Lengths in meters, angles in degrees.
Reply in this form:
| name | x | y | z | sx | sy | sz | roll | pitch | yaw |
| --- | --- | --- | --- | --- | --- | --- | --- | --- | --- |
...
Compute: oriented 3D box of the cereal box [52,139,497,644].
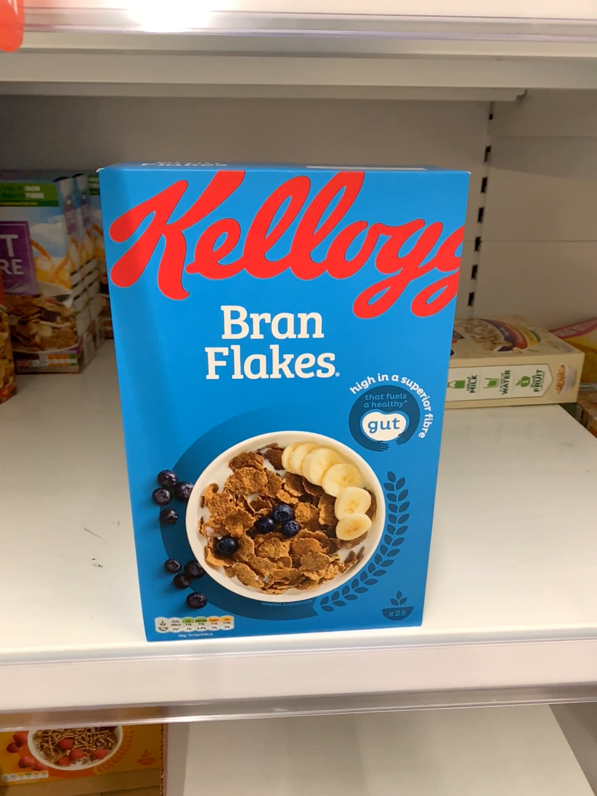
| name | x | y | z | sx | sy | sz | roll | pitch | yaw |
| --- | --- | --- | --- | --- | --- | --- | --- | --- | --- |
| cereal box | -0.013 | -0.001 | 0.388 | 0.210 | 0.298 | 0.091 | -1 | 22 | -5 |
